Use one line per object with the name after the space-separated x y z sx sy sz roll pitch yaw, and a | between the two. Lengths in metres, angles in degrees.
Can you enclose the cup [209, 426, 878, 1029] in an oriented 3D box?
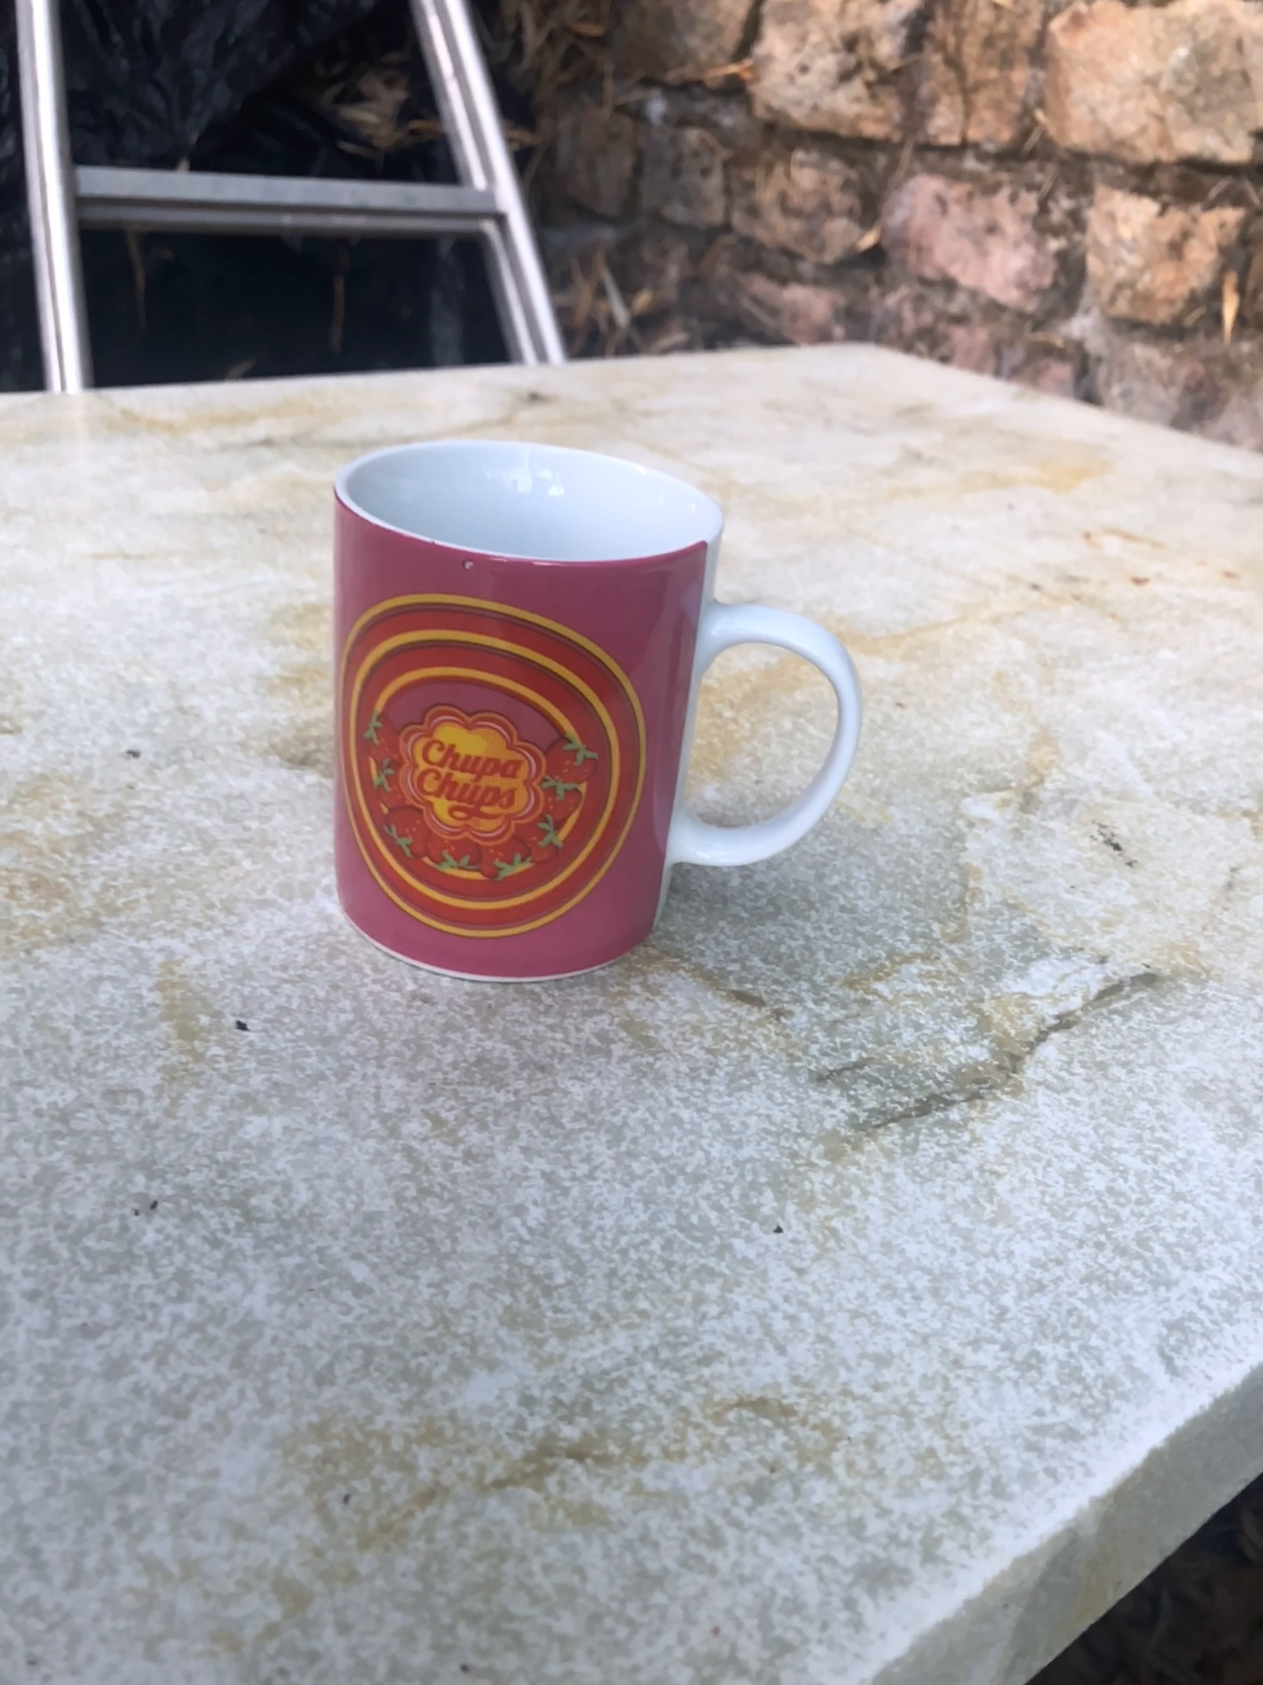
-0.014 -0.027 0.293 0.116 0.089 0.077 7 29 4 | cup
